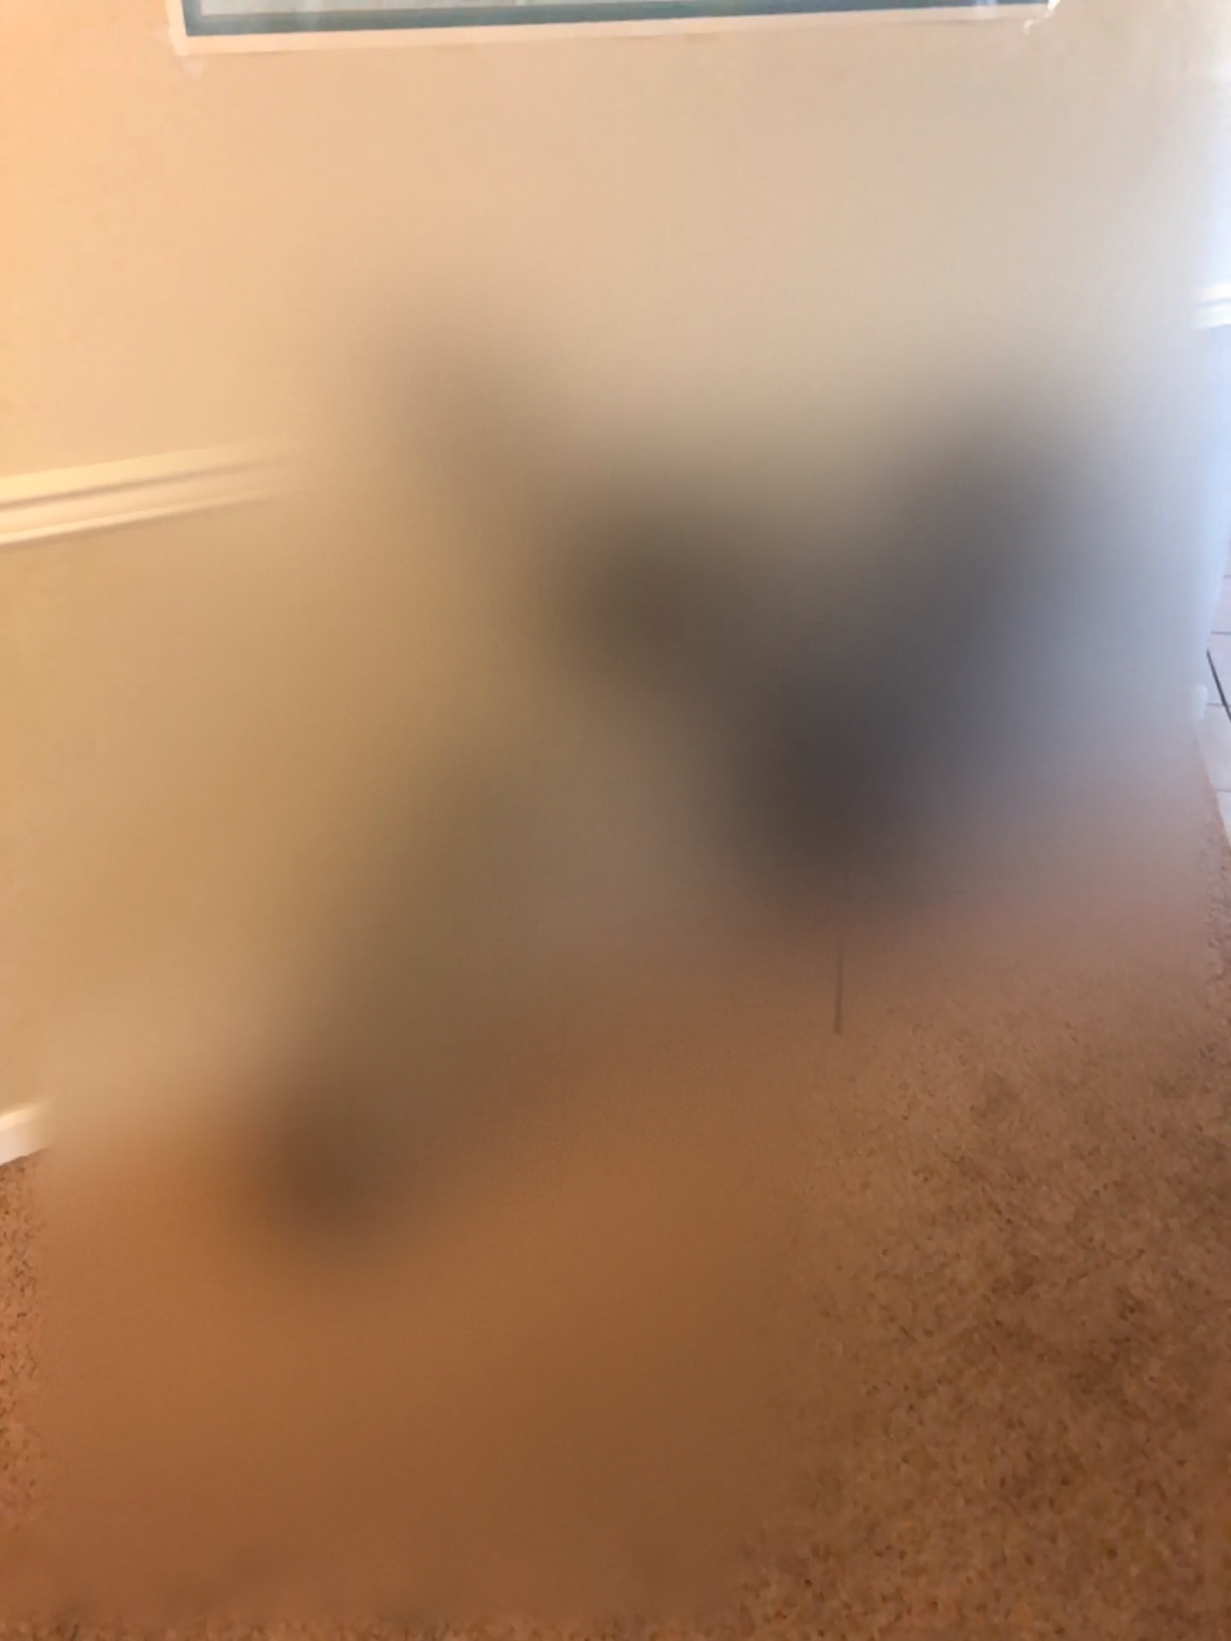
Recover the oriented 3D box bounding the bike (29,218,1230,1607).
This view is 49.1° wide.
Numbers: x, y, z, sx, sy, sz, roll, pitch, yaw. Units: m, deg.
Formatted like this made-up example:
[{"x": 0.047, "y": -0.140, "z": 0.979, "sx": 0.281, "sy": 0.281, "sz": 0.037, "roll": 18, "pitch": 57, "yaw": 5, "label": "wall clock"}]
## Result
[{"x": 0.342, "y": -0.090, "z": 1.953, "sx": 1.870, "sy": 1.177, "sz": 0.680, "roll": -25, "pitch": 38, "yaw": -32, "label": "bike"}]
